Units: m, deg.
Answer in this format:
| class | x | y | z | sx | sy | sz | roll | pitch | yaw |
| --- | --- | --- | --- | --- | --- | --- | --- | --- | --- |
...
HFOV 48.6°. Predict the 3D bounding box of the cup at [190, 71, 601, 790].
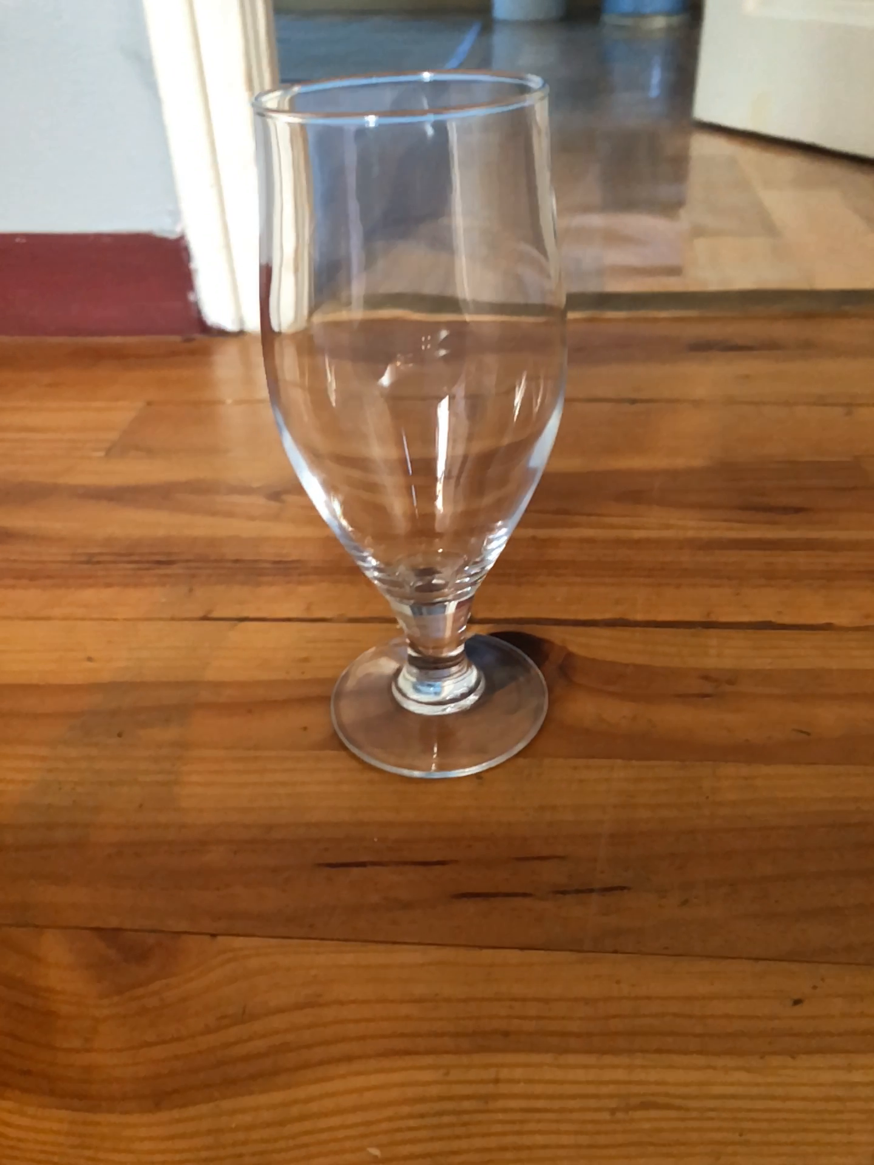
| class | x | y | z | sx | sy | sz | roll | pitch | yaw |
| --- | --- | --- | --- | --- | --- | --- | --- | --- | --- |
| cup | -0.007 | -0.038 | 0.276 | 0.081 | 0.183 | 0.083 | -1 | 33 | 1 |
